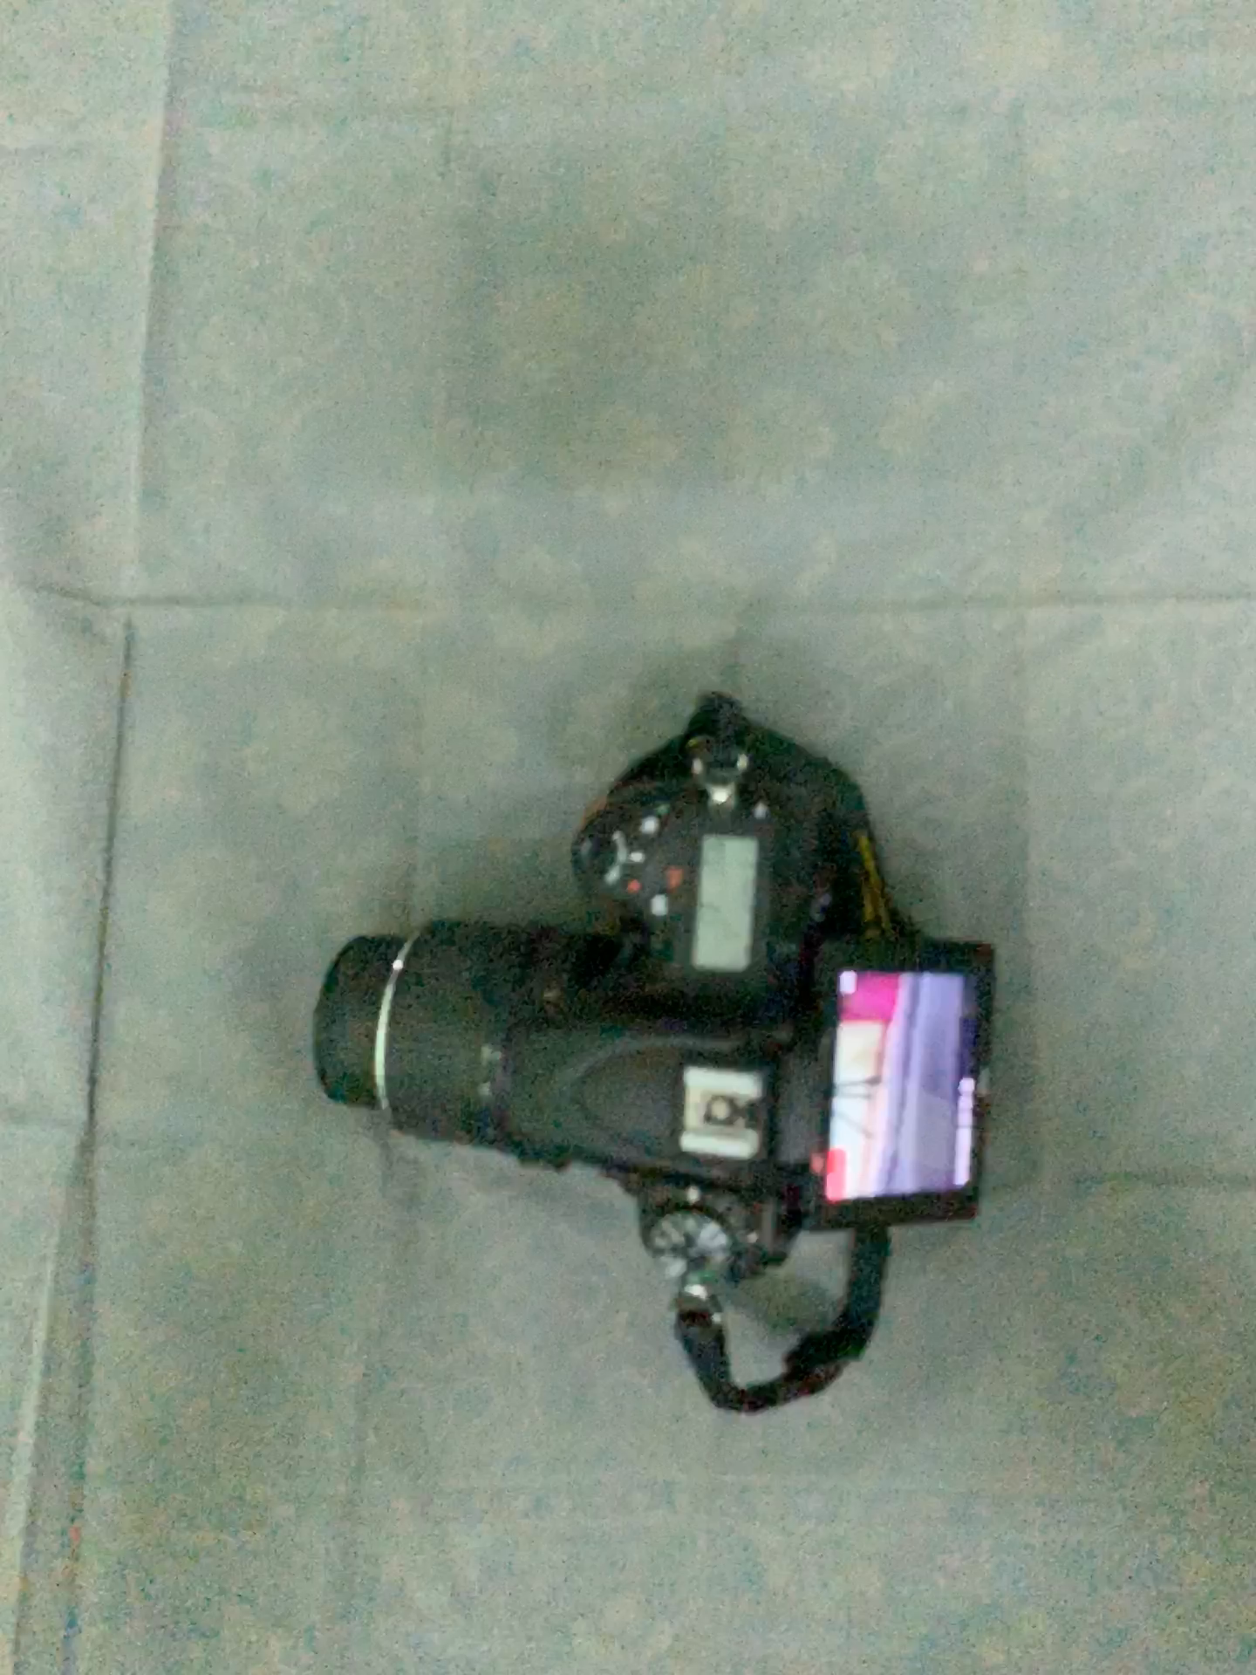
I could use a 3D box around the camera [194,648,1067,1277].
[{"bbox_3d":[0.002,0.038,0.394,0.230,0.100,0.165,-1,82,5],"label":"camera"}]
